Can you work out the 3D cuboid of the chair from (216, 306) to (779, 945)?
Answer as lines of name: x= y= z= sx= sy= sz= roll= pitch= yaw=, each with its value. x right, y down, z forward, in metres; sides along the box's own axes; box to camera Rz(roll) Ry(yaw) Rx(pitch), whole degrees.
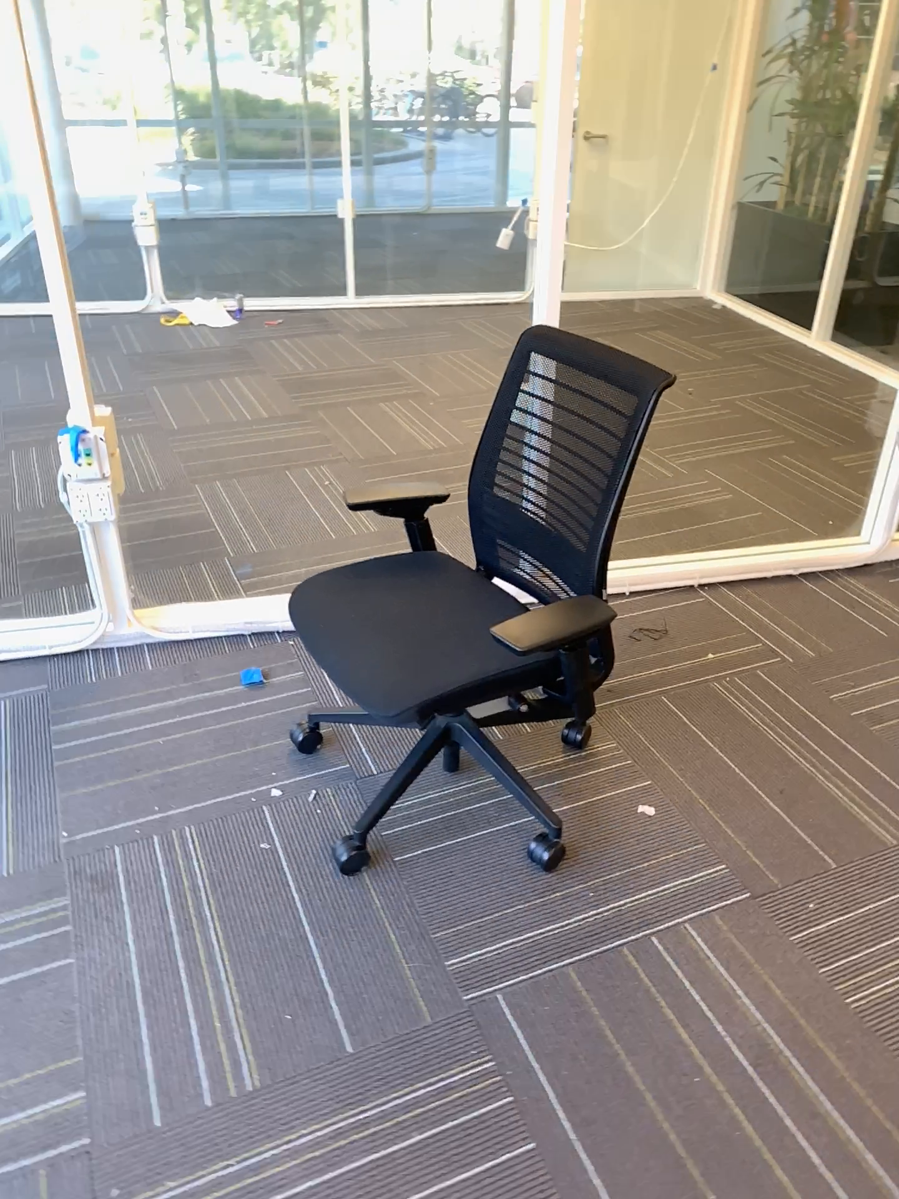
chair: x=0.035 y=-0.013 z=1.783 sx=0.710 sy=0.875 sz=0.694 roll=-14 pitch=34 yaw=-23
